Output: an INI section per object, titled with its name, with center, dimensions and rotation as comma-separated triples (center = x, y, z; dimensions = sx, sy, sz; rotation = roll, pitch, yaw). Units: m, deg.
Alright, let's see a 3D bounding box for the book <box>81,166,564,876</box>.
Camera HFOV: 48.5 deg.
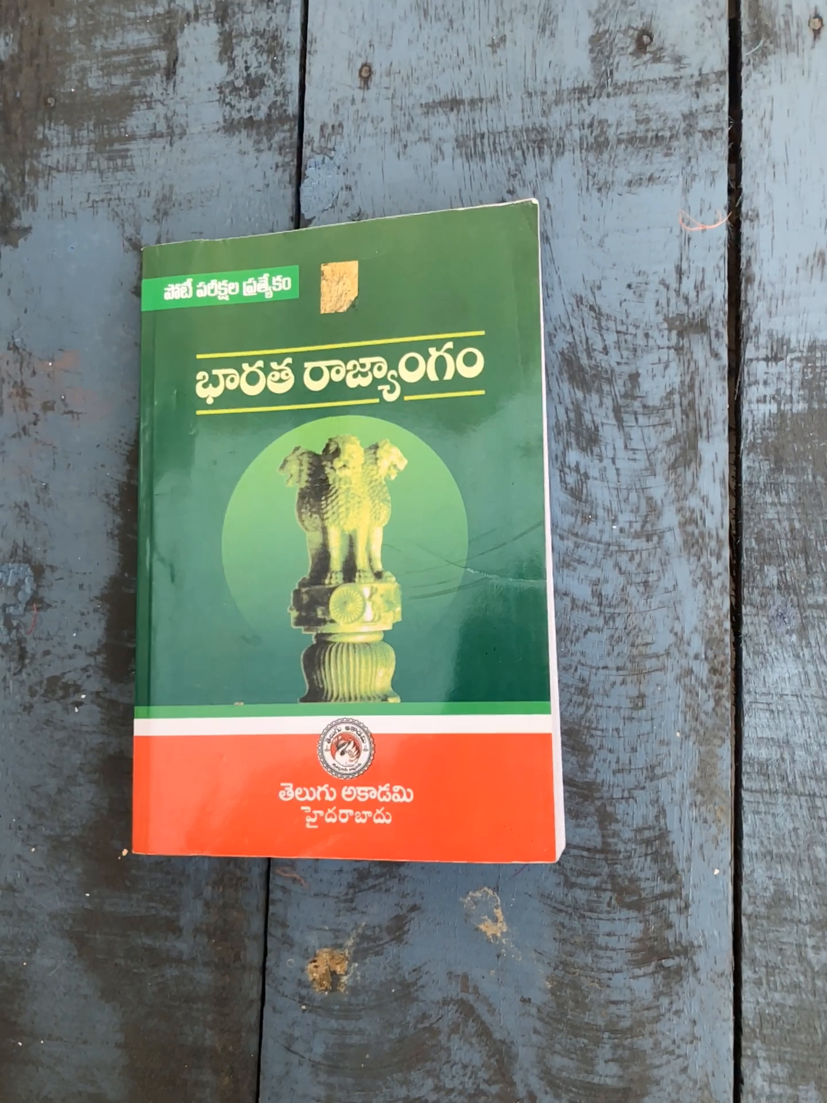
[book]
center = -0.032, -0.010, 0.329
dimensions = 0.160, 0.040, 0.230
rotation = -2, 83, 11
